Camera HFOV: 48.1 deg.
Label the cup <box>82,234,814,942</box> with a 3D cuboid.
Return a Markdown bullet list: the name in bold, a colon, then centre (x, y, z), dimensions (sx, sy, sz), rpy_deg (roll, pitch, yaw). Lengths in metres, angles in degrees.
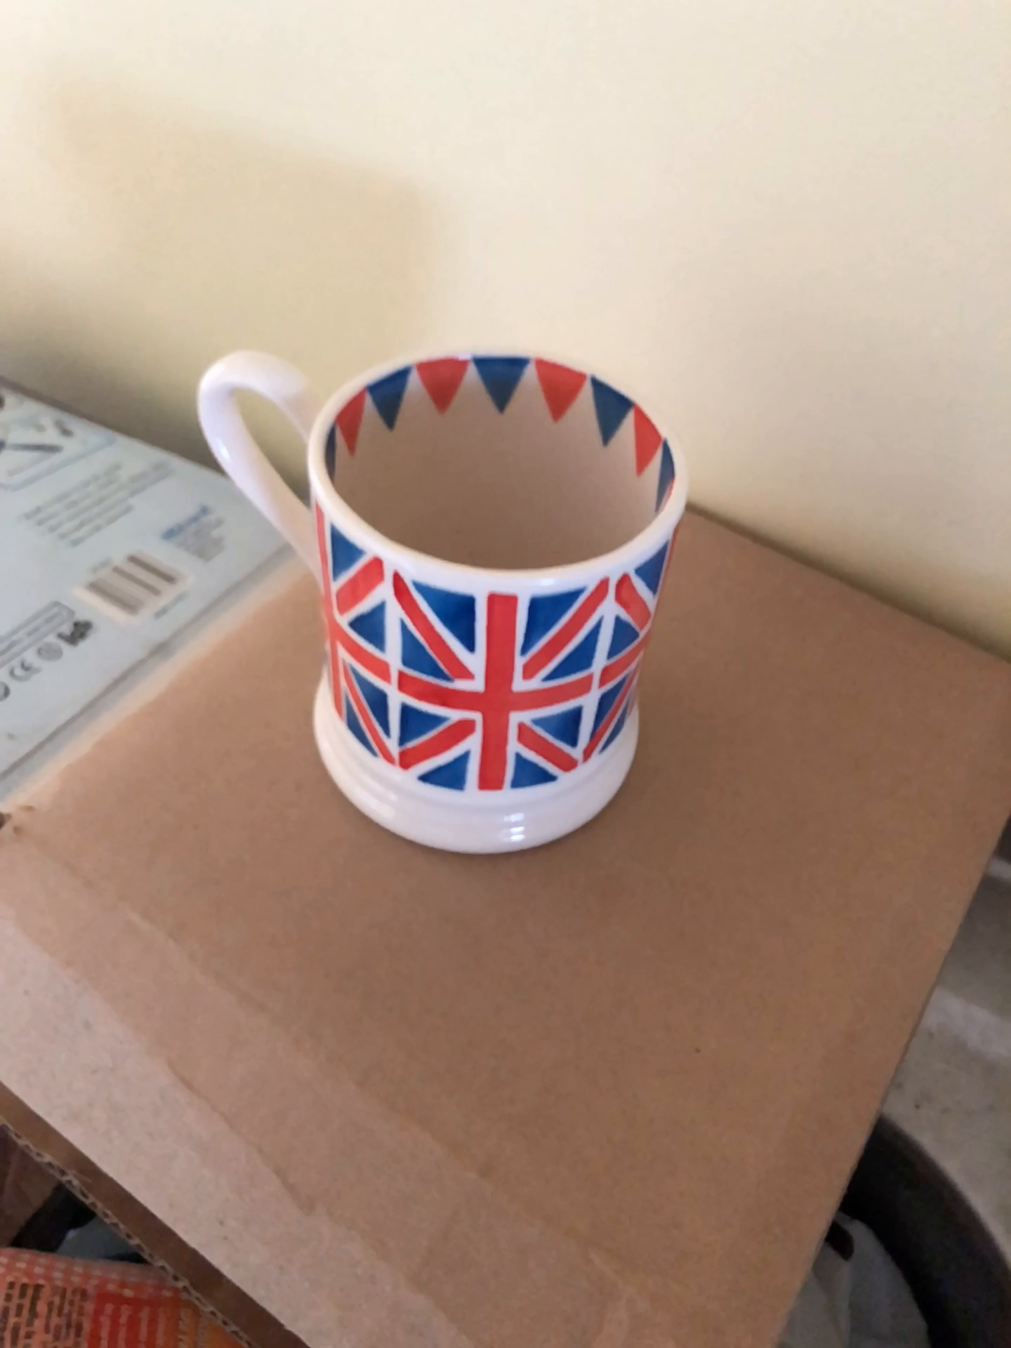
- **cup**: centre (-0.013, -0.027, 0.290), dimensions (0.130, 0.099, 0.100), rpy_deg (28, 52, 23)
